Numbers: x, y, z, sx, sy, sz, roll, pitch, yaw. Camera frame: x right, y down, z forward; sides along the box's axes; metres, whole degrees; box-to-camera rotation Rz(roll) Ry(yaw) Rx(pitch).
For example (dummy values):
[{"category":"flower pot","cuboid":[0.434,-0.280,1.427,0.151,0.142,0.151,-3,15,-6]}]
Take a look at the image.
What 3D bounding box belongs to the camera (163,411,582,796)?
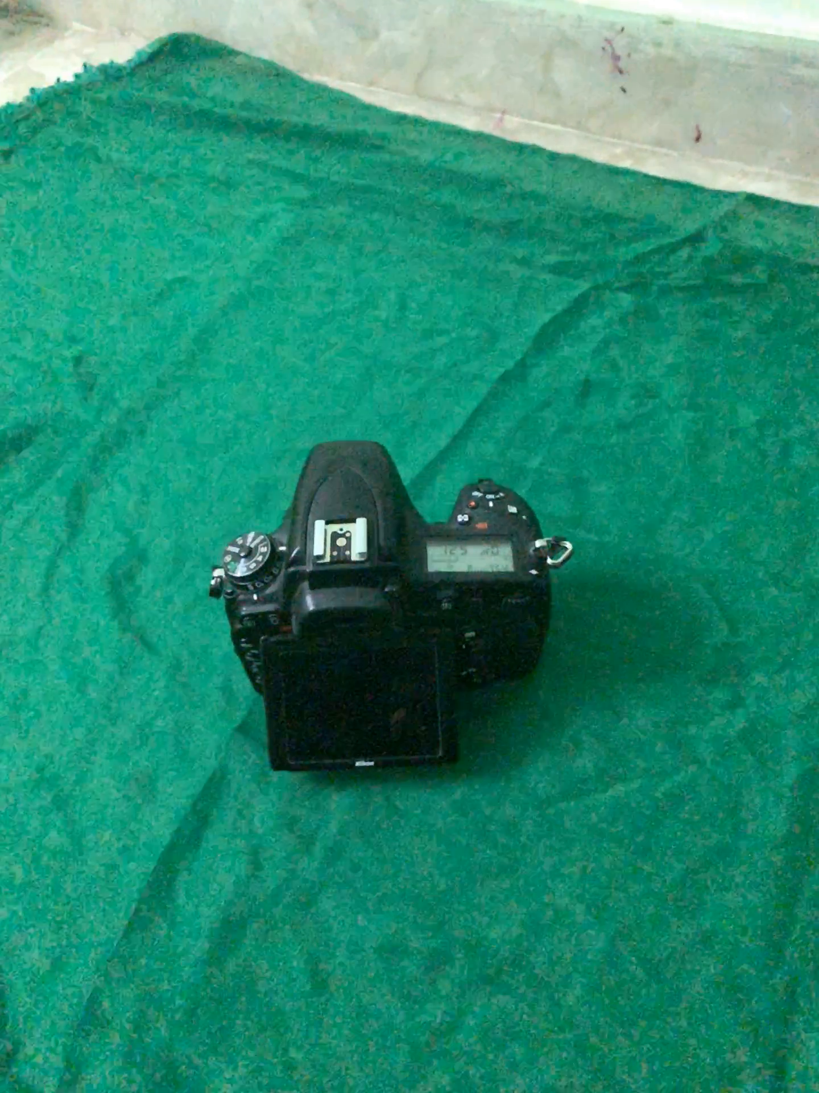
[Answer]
[{"category":"camera","cuboid":[-0.008,0.024,0.361,0.142,0.100,0.129,0,55,5]}]
